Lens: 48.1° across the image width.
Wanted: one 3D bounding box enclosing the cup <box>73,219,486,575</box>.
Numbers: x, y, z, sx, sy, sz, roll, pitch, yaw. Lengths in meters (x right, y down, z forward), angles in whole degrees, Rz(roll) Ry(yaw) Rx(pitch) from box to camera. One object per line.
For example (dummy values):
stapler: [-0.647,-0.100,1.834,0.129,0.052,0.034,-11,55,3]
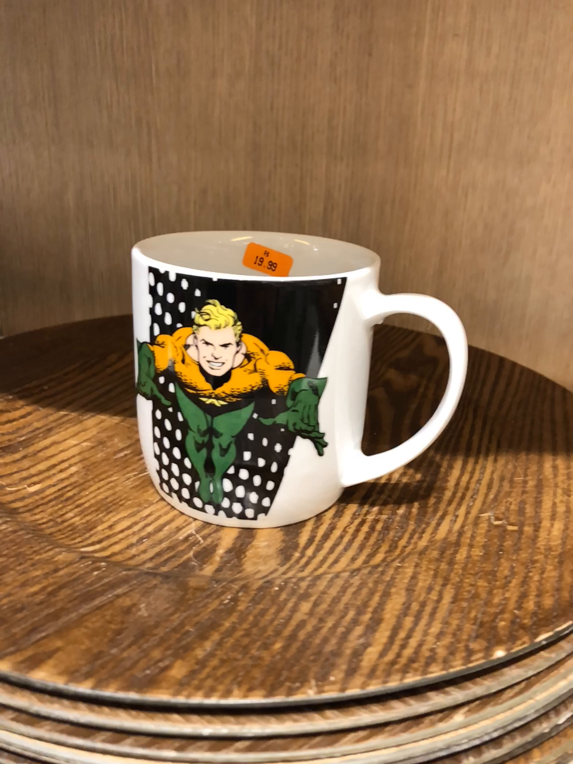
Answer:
cup: [0.004,-0.006,0.235,0.120,0.089,0.091,7,20,14]
